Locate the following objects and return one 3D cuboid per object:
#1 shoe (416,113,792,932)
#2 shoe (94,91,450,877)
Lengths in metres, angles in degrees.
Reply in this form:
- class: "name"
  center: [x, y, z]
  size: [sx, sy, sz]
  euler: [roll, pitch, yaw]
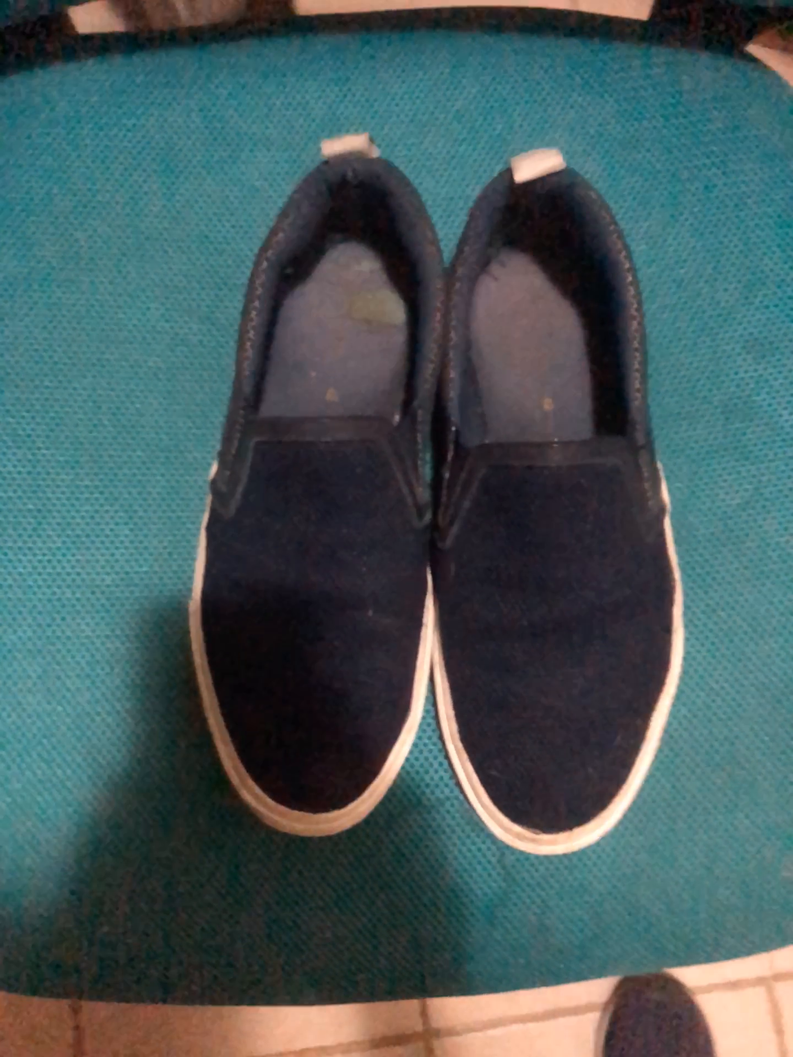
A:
- class: "shoe"
  center: [0.074, -0.004, 0.367]
  size: [0.120, 0.110, 0.290]
  euler: [-2, 82, 0]
- class: "shoe"
  center: [-0.041, -0.018, 0.376]
  size: [0.120, 0.110, 0.290]
  euler: [1, 82, 0]
